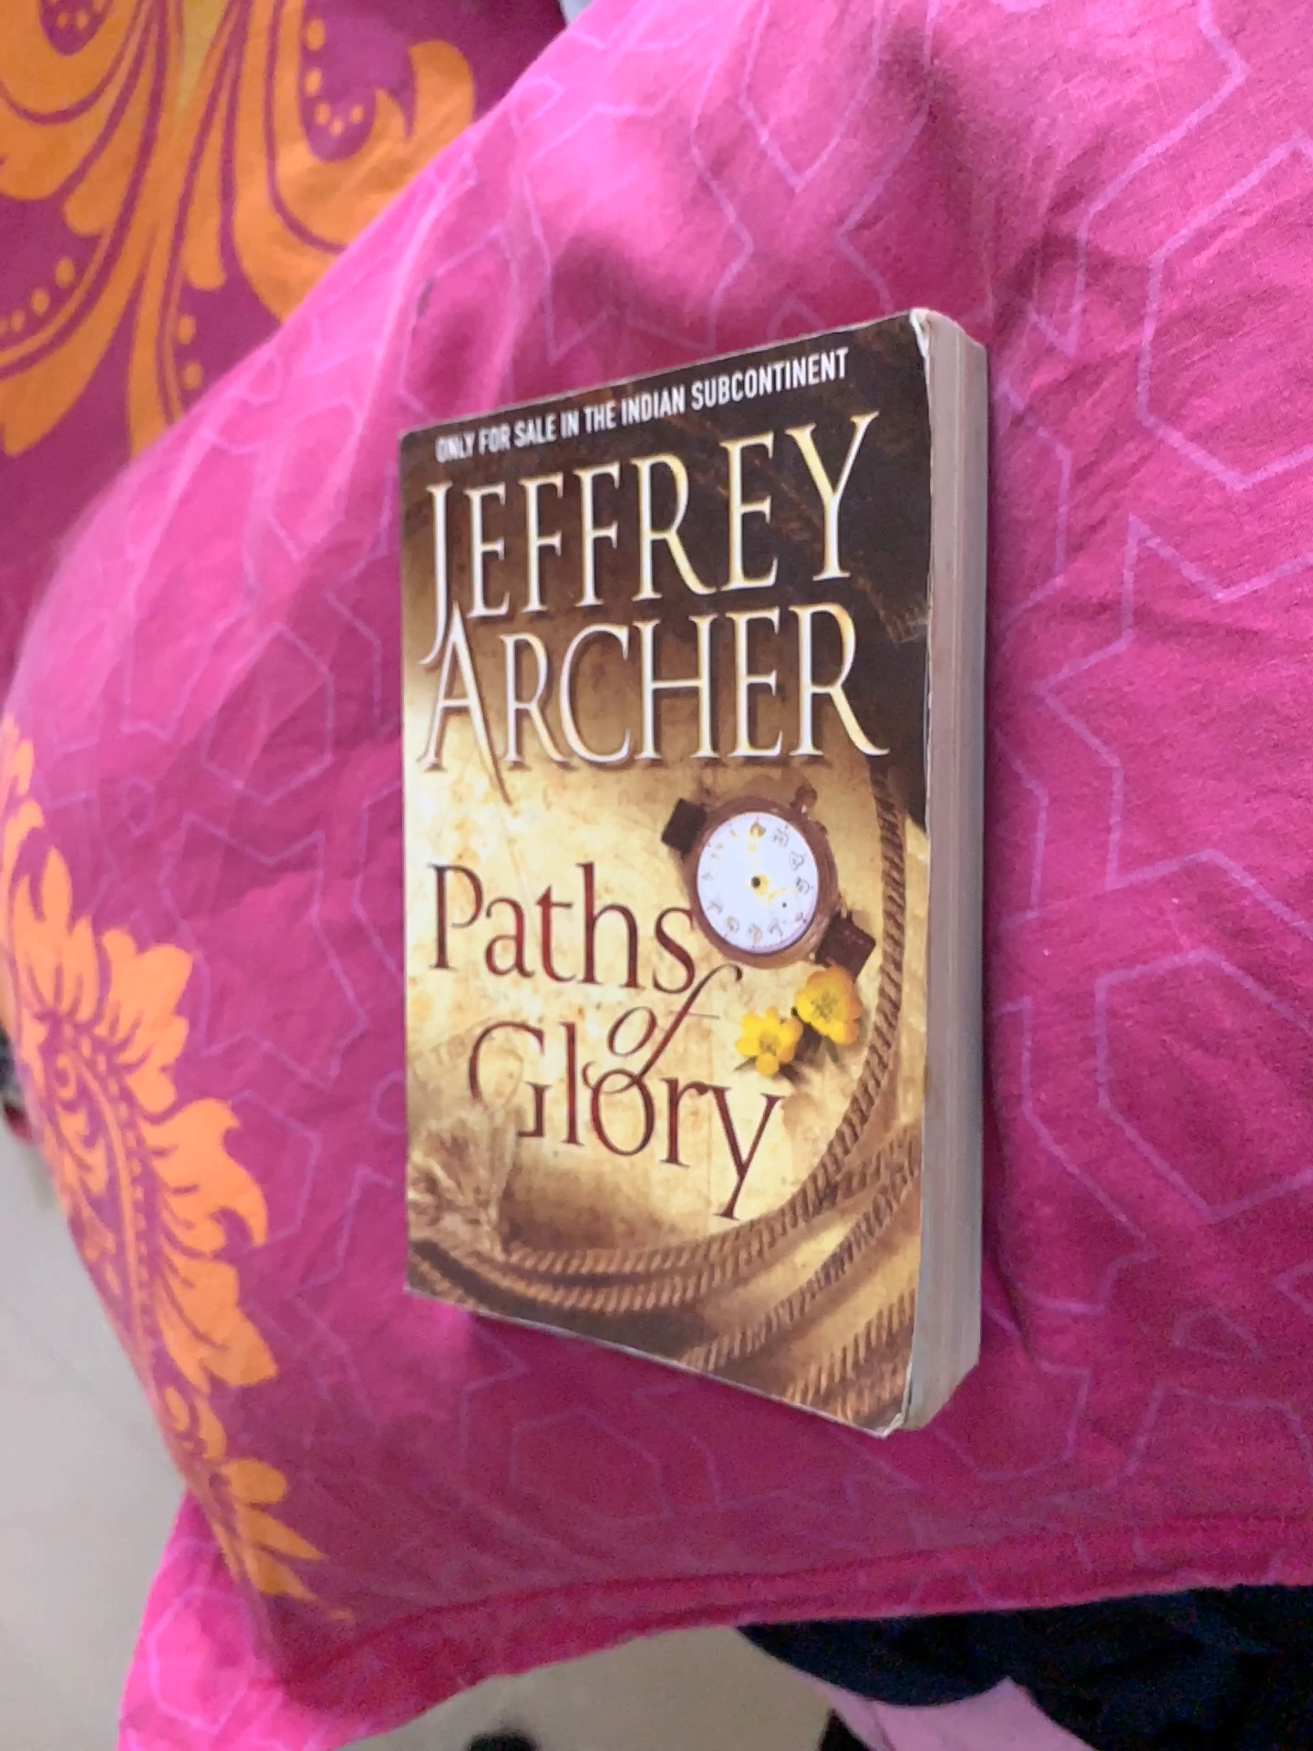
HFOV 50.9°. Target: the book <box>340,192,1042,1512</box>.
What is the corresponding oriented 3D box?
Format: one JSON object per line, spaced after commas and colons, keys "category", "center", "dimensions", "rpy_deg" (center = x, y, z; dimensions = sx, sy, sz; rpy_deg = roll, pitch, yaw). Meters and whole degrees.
{"category": "book", "center": [0.000, -0.004, 0.242], "dimensions": [0.120, 0.040, 0.180], "rpy_deg": [4, 96, 40]}
